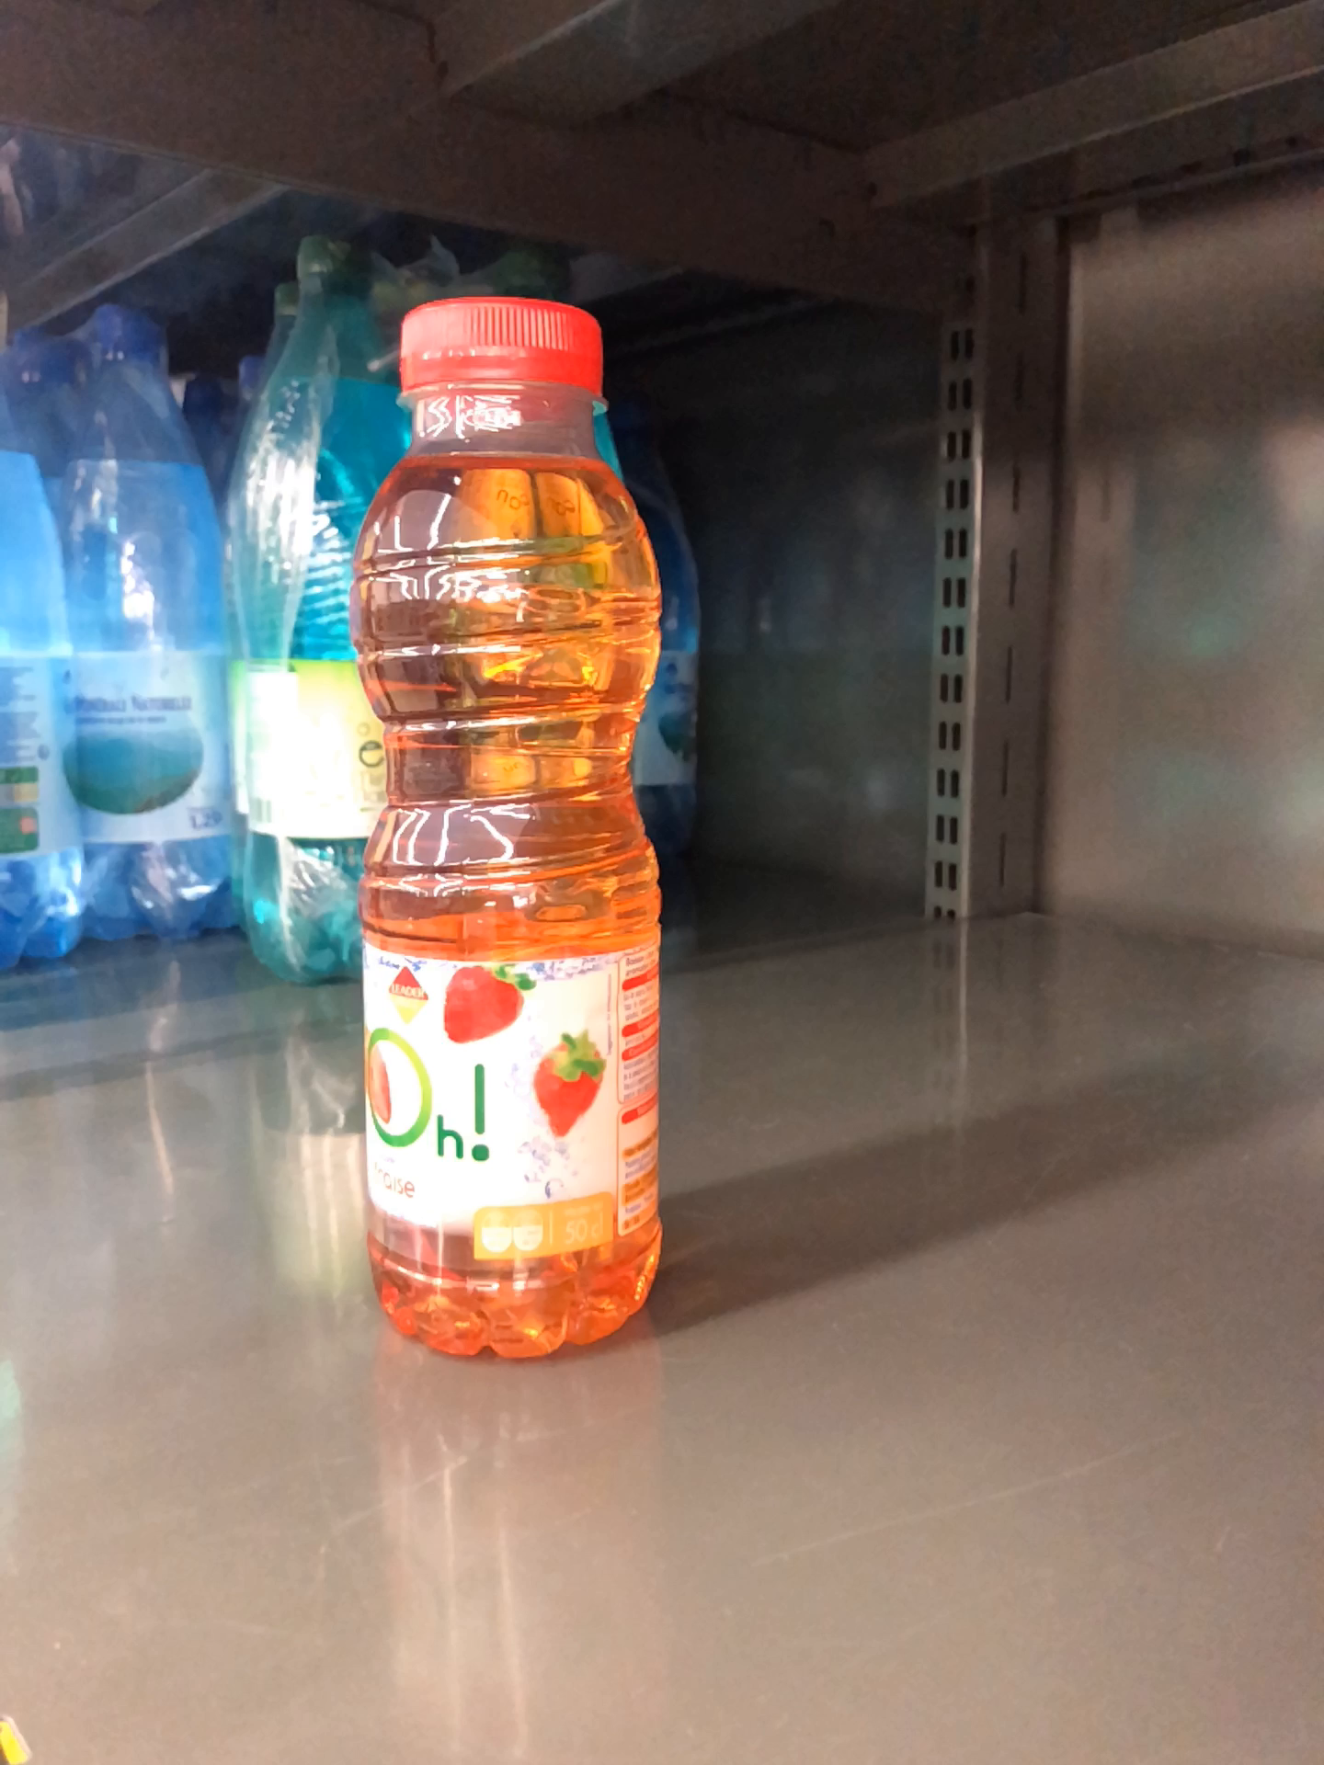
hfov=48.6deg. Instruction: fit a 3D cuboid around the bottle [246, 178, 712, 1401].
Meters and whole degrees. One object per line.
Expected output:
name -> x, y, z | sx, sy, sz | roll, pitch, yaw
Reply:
bottle -> -0.036, -0.017, 0.296 | 0.060, 0.210, 0.070 | -7, 10, -41
